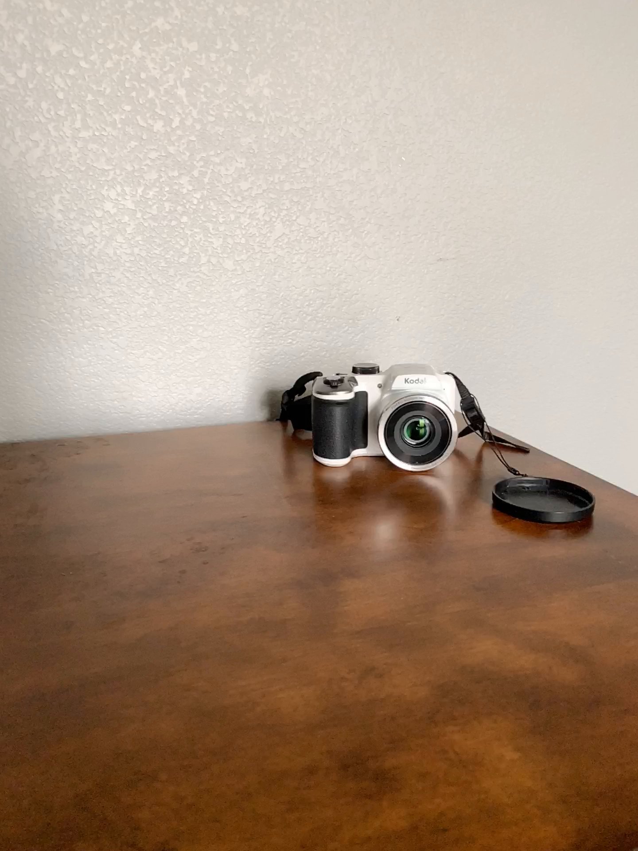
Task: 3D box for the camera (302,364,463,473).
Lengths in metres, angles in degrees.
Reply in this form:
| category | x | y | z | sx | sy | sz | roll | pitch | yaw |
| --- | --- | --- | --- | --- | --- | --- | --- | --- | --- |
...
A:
| category | x | y | z | sx | sy | sz | roll | pitch | yaw |
| --- | --- | --- | --- | --- | --- | --- | --- | --- | --- |
| camera | 0.052 | -0.009 | 0.528 | 0.119 | 0.071 | 0.070 | 1 | 14 | 9 |
